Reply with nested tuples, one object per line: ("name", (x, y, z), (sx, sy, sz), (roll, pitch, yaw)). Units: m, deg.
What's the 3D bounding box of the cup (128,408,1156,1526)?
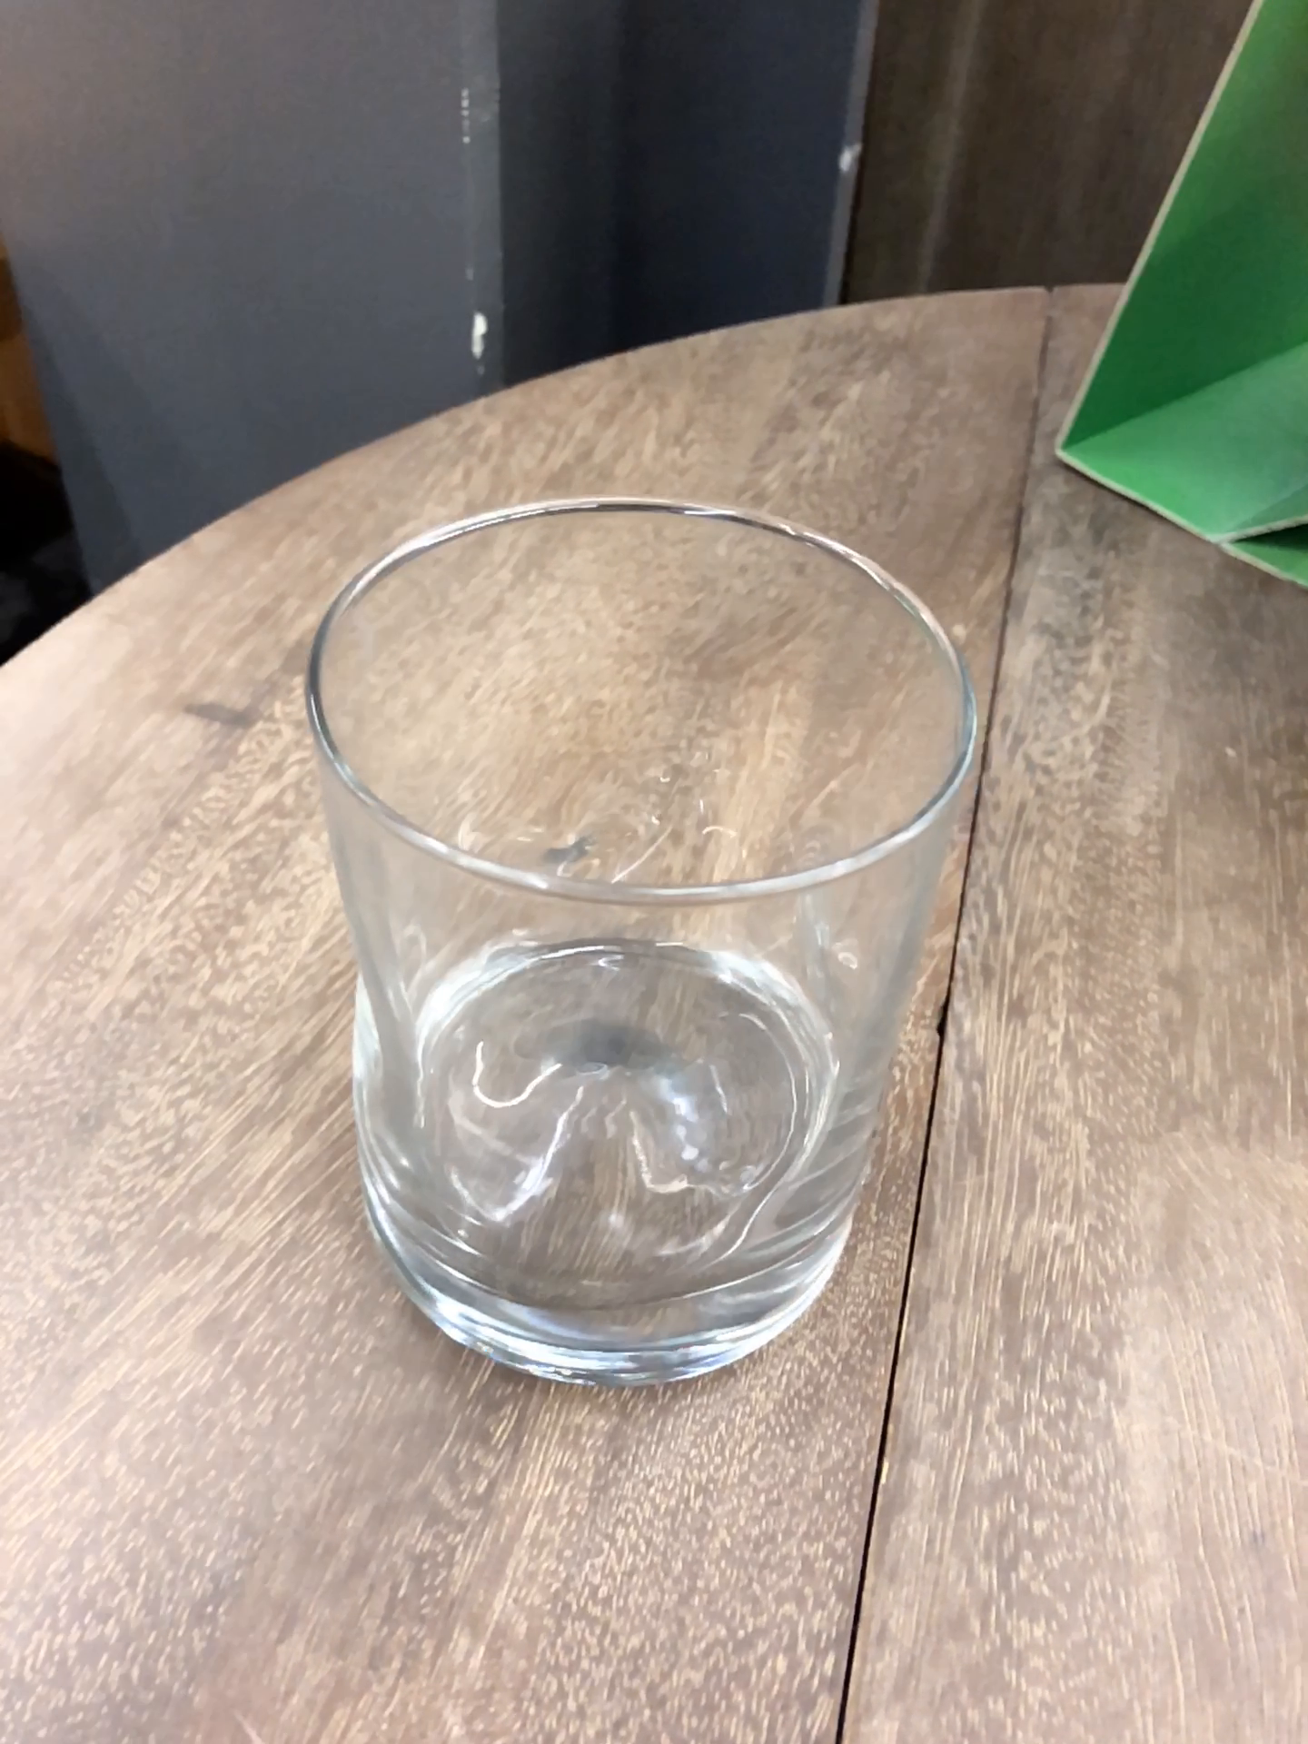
("cup", (-0.002, 0.009, 0.201), (0.084, 0.098, 0.084), (2, 43, -2))
